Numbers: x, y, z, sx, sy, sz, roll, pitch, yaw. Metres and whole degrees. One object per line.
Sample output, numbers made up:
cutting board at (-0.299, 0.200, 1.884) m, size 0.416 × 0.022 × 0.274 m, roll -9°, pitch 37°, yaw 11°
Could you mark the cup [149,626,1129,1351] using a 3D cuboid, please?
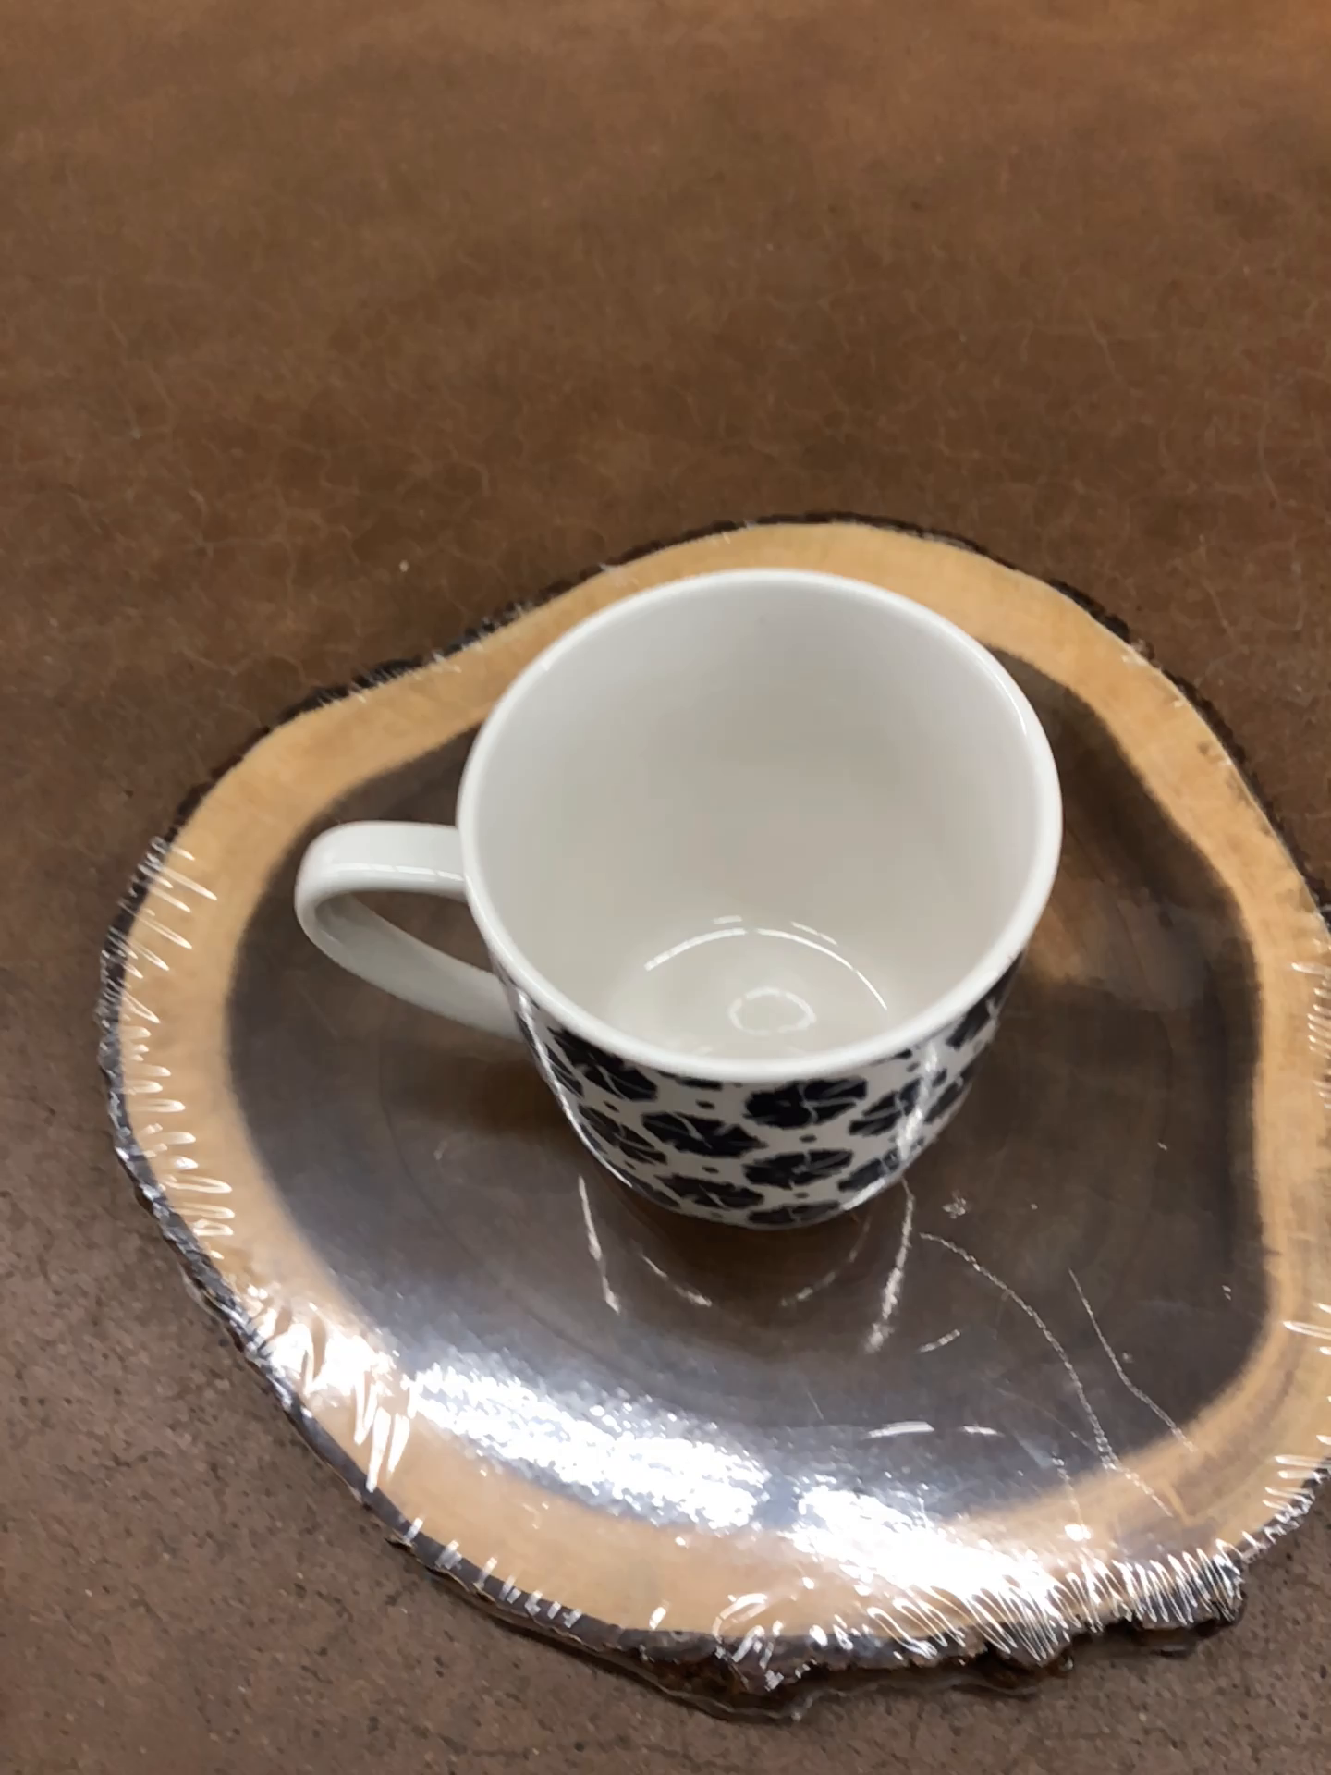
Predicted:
cup at (-0.001, 0.024, 0.263) m, size 0.130 × 0.100 × 0.090 m, roll -2°, pitch 60°, yaw 4°
